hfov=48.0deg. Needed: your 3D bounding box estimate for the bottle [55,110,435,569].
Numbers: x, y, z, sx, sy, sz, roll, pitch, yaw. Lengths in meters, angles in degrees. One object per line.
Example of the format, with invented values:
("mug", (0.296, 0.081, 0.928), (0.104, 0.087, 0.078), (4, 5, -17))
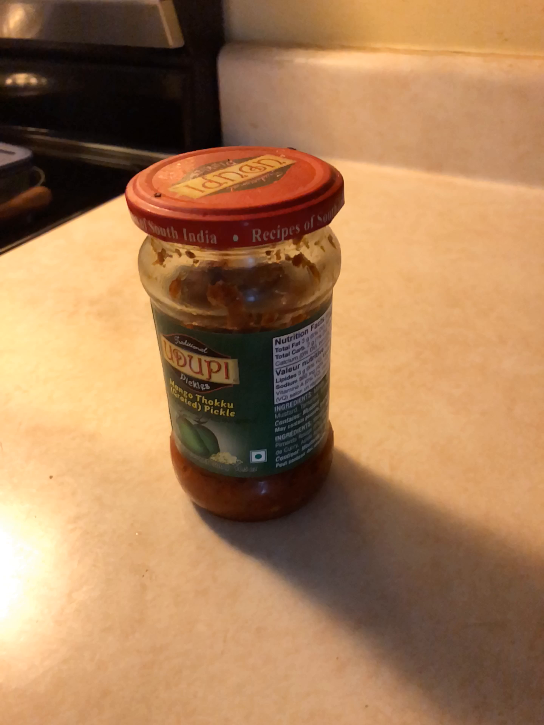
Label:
("bottle", (-0.006, -0.013, 0.215), (0.080, 0.120, 0.080), (-1, 34, 1))
